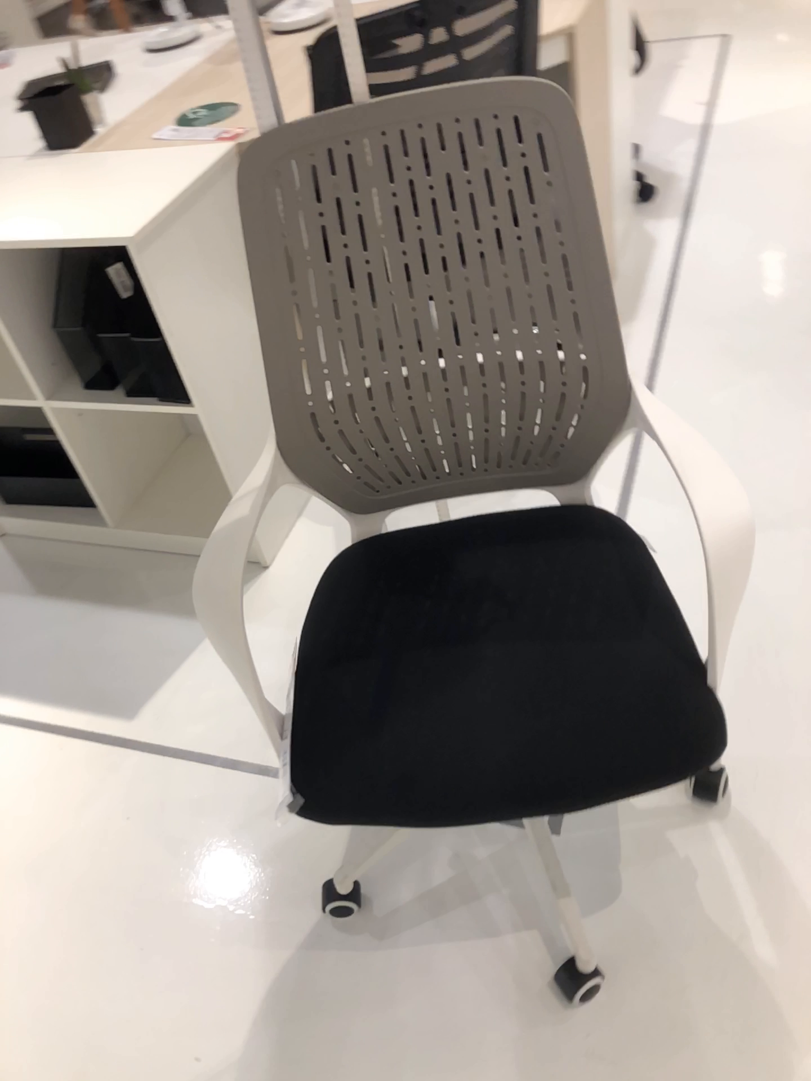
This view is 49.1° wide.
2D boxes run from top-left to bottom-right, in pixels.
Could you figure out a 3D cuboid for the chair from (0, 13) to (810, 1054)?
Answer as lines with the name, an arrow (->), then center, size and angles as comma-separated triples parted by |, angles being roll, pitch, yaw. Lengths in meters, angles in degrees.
chair -> 0.119, 0.062, 1.092 | 0.690, 1.003, 0.675 | -8, 42, 5
